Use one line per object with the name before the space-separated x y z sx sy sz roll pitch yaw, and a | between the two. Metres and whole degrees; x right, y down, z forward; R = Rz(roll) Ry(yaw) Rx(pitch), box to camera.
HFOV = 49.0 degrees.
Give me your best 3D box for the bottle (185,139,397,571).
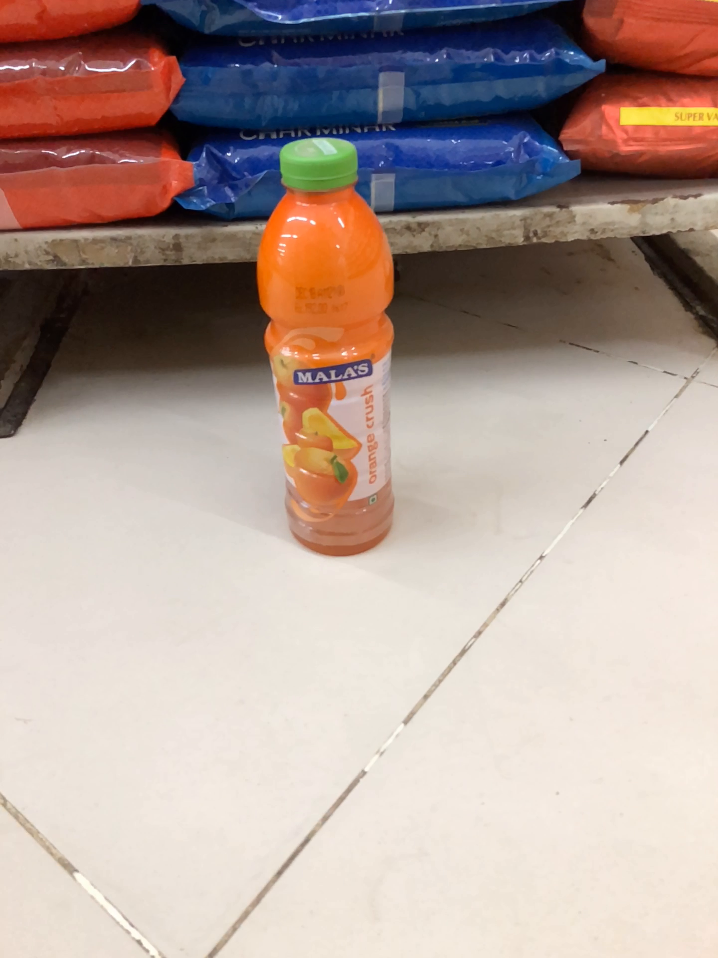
bottle | -0.027 -0.065 0.472 0.090 0.238 0.091 -2 38 1
